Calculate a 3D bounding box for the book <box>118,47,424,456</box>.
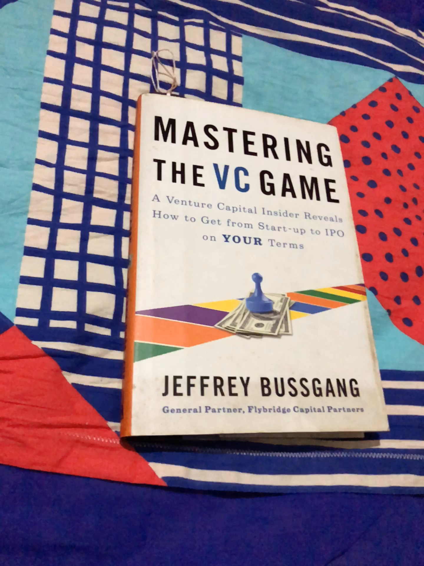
[{"bbox_3d":[0.031,-0.030,0.340,0.180,0.050,0.280,4,66,-15],"label":"book"}]
